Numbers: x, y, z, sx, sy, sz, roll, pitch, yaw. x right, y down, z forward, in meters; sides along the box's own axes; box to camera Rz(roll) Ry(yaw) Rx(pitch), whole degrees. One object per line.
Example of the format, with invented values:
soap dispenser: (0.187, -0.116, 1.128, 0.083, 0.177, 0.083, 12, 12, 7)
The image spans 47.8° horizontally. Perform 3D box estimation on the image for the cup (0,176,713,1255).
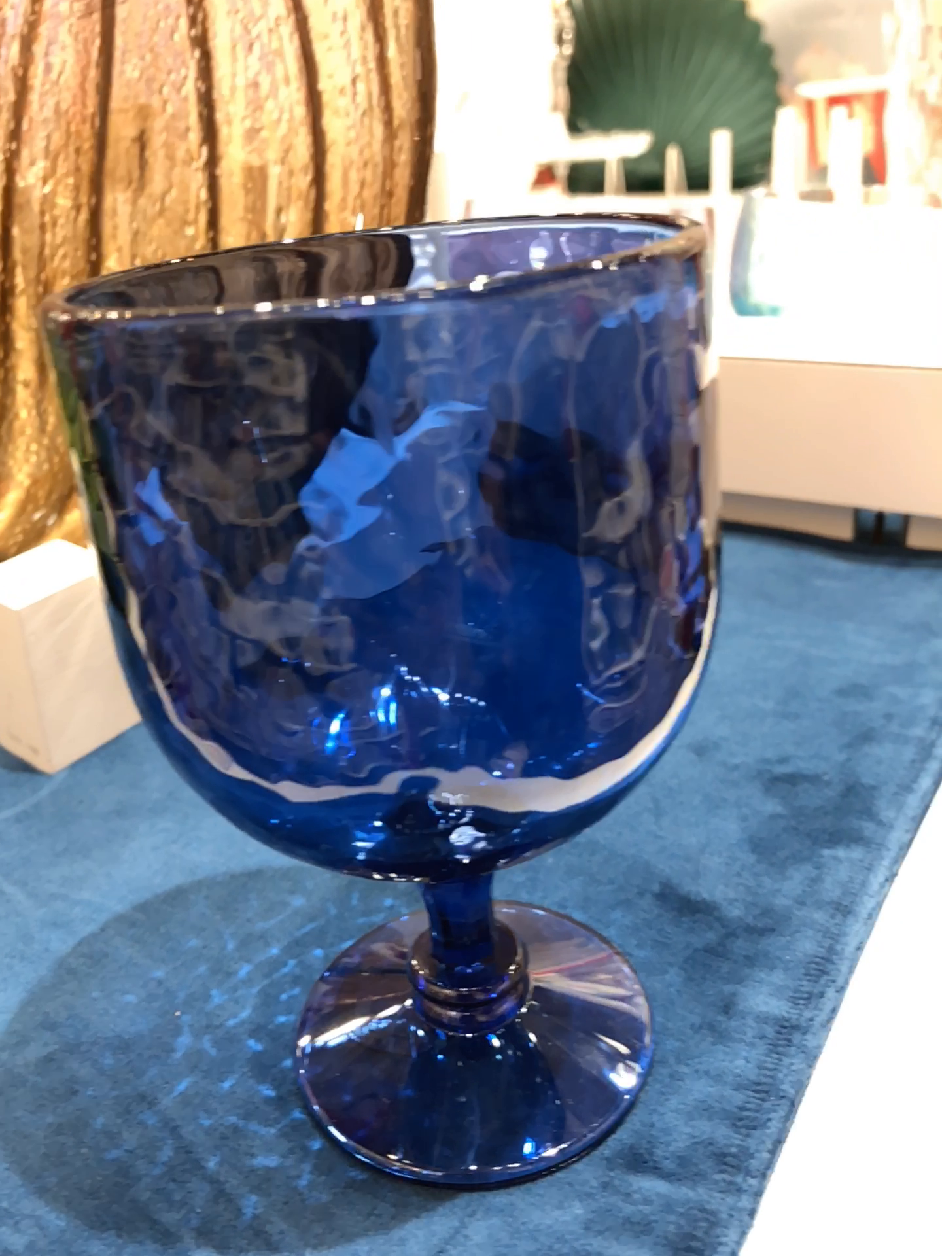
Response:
cup: (-0.011, 0.012, 0.163, 0.080, 0.139, 0.090, 4, 26, 18)
